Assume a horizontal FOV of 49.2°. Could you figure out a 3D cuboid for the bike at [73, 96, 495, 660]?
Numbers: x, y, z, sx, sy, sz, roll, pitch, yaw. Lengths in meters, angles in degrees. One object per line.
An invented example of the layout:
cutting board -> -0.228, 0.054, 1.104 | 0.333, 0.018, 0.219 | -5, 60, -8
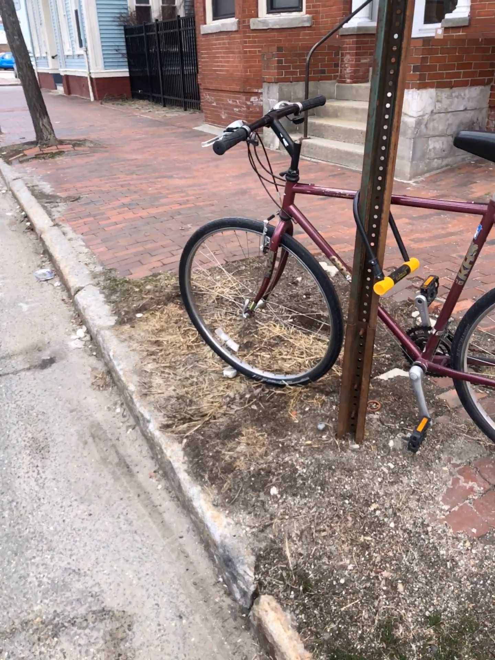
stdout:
bike -> 0.406, -0.083, 1.540 | 1.728, 1.011, 0.671 | 17, 32, 33
